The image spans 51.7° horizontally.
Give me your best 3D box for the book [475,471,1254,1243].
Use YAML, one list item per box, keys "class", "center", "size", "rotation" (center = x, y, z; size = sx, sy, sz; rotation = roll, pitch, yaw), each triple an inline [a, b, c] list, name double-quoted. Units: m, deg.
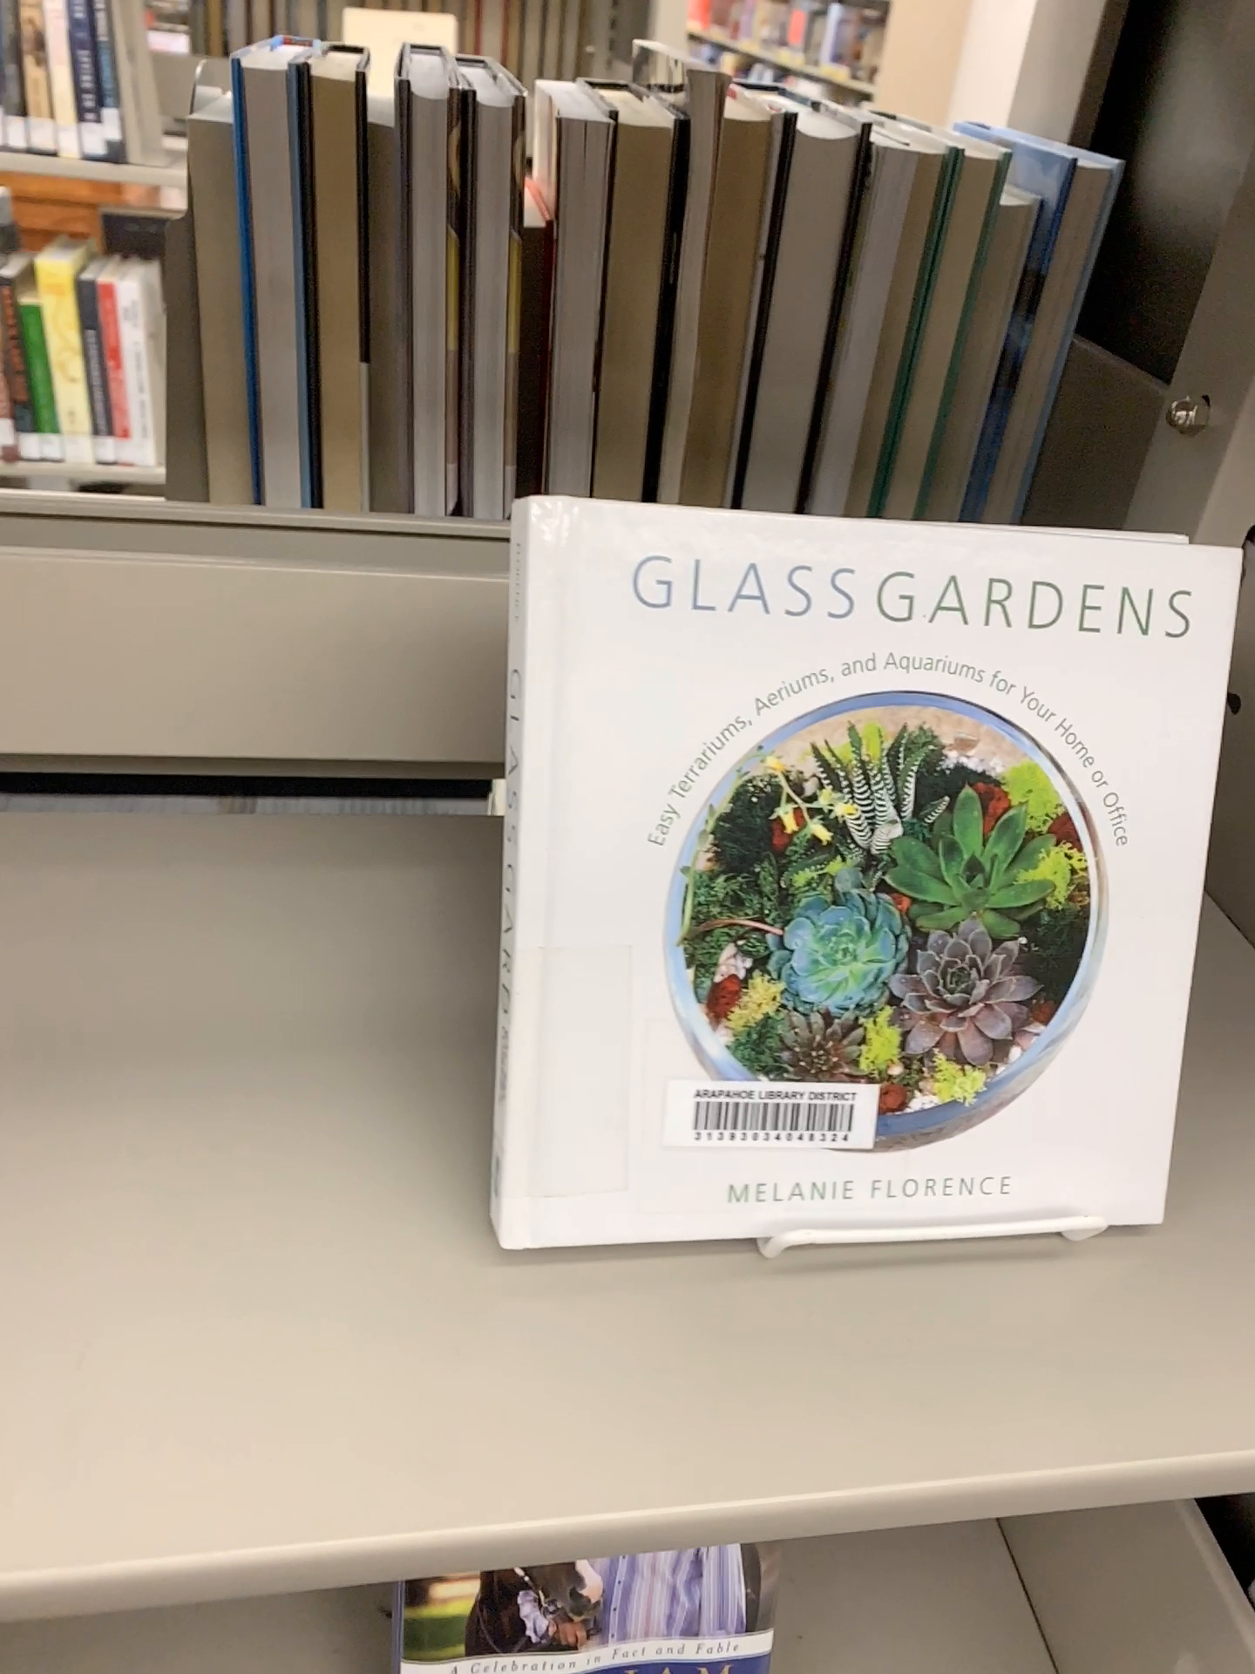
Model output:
- class: "book"
  center: [0.056, 0.007, 0.320]
  size: [0.180, 0.174, 0.030]
  rotation: [1, 10, -11]
